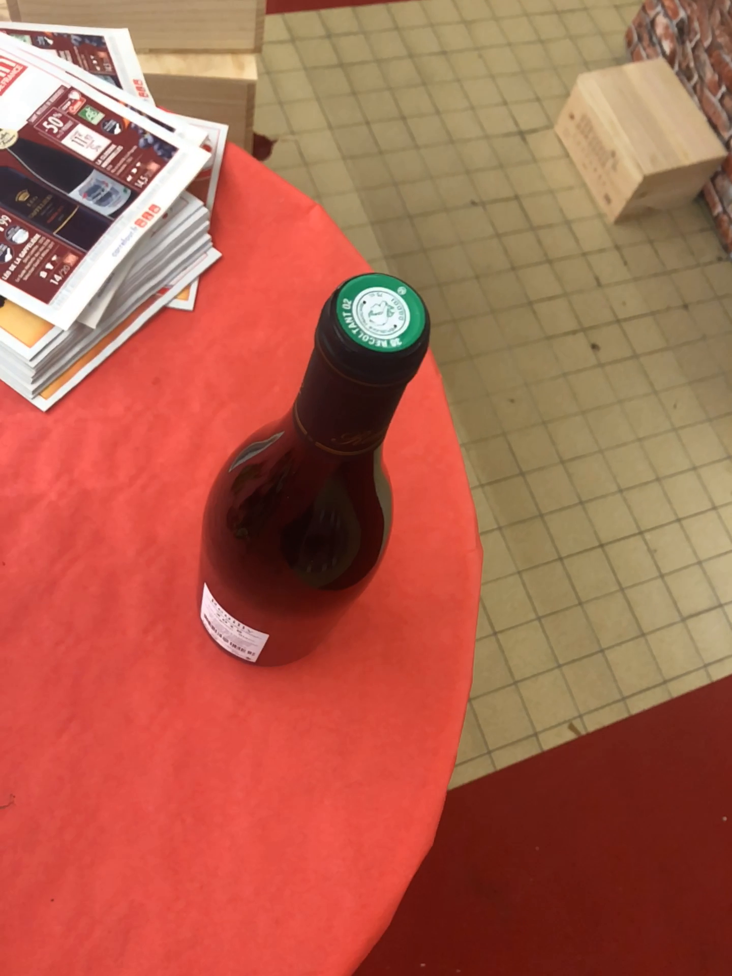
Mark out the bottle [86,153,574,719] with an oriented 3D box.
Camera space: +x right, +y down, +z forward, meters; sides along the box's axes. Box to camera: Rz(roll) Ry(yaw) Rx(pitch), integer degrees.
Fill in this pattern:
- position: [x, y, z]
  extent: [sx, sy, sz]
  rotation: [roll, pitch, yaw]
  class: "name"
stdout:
- position: [-0.029, 0.016, 0.334]
  extent: [0.090, 0.279, 0.090]
  rotation: [4, 68, -9]
  class: "bottle"
